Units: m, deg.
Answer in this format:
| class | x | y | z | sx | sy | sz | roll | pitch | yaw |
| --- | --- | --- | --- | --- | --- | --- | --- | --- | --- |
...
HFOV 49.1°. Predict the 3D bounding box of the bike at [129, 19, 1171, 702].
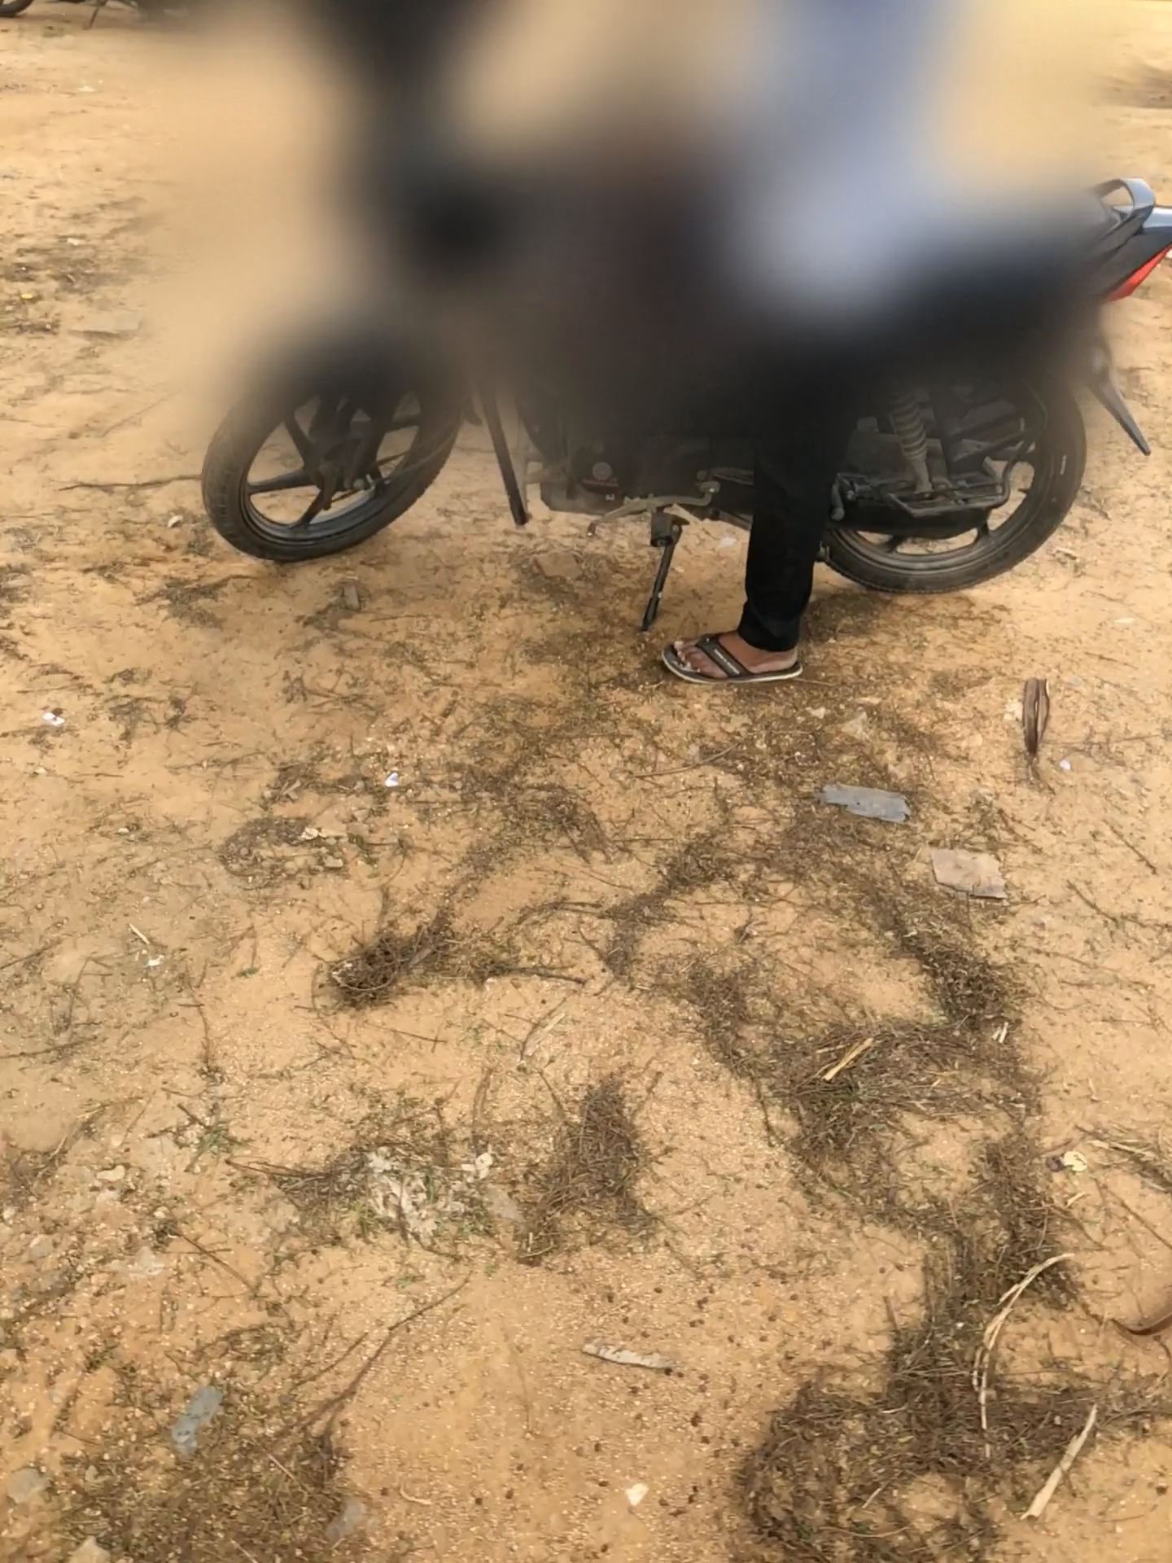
| class | x | y | z | sx | sy | sz | roll | pitch | yaw |
| --- | --- | --- | --- | --- | --- | --- | --- | --- | --- |
| bike | 0.117 | -0.737 | 2.292 | 1.561 | 0.913 | 0.673 | -1 | 35 | 4 |
